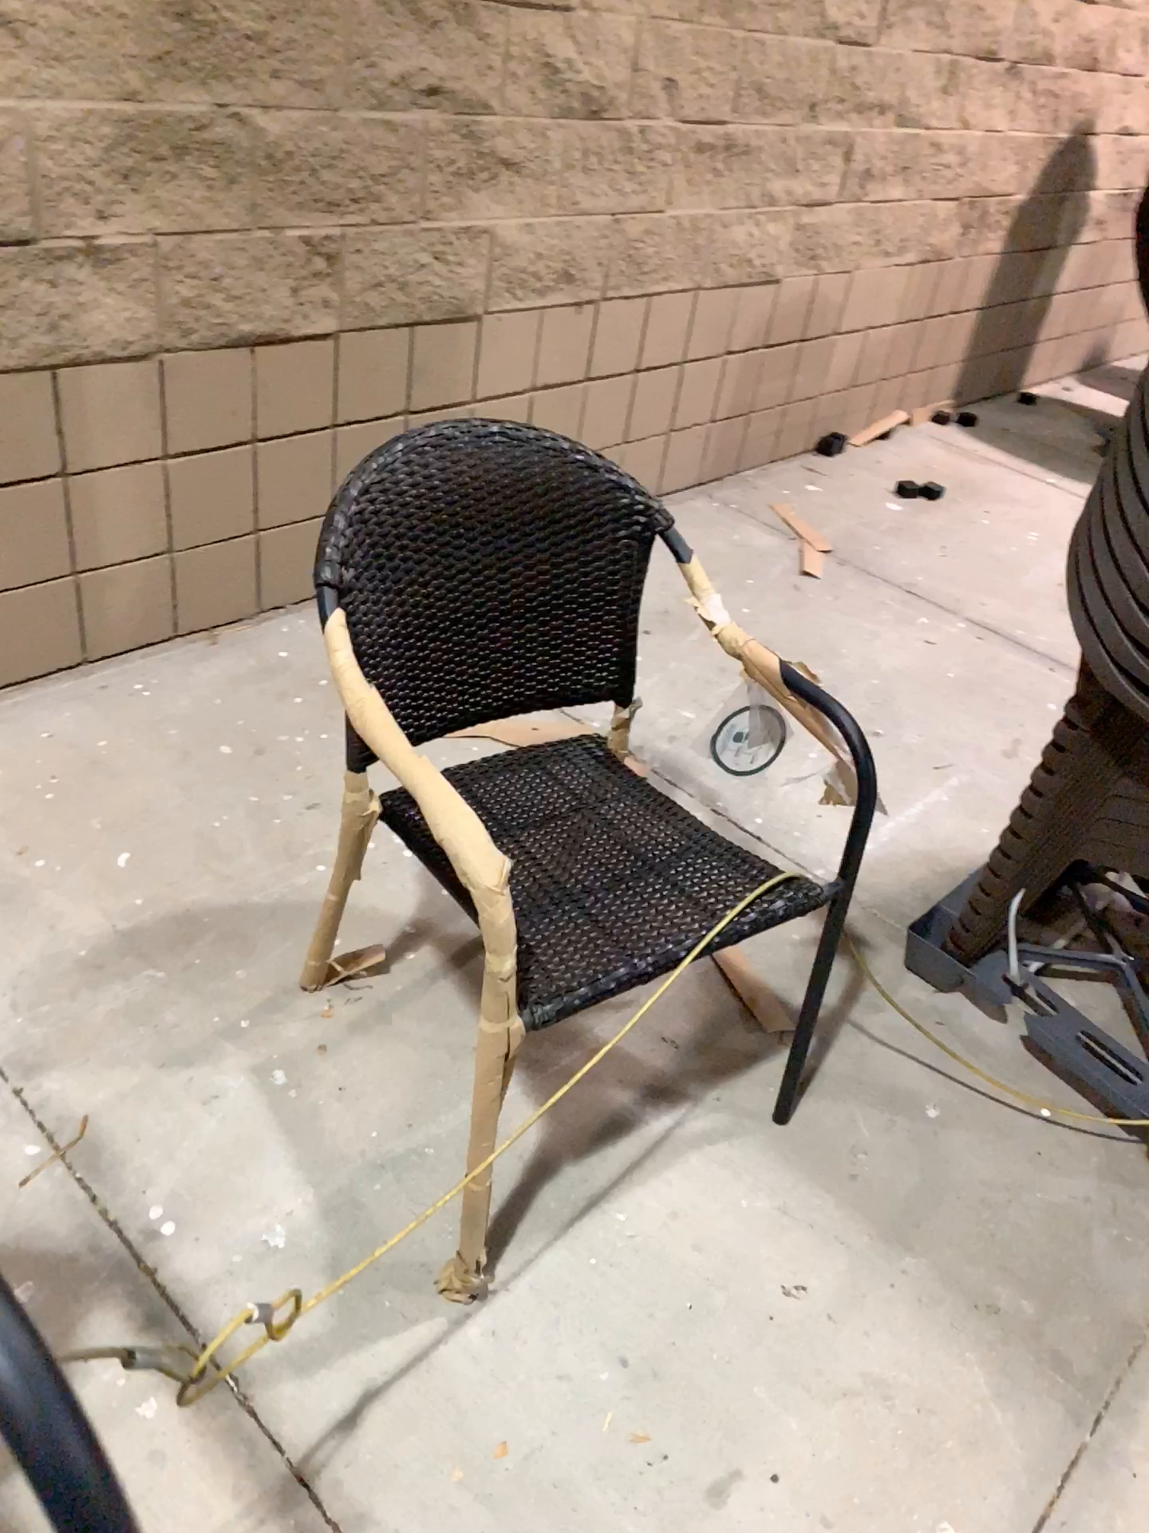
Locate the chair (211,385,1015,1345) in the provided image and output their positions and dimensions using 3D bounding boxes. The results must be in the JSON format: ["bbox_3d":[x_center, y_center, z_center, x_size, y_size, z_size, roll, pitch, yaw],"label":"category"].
[{"bbox_3d":[-0.027,0.075,1.414,0.577,0.839,0.599,-17,43,-34],"label":"chair"}]
